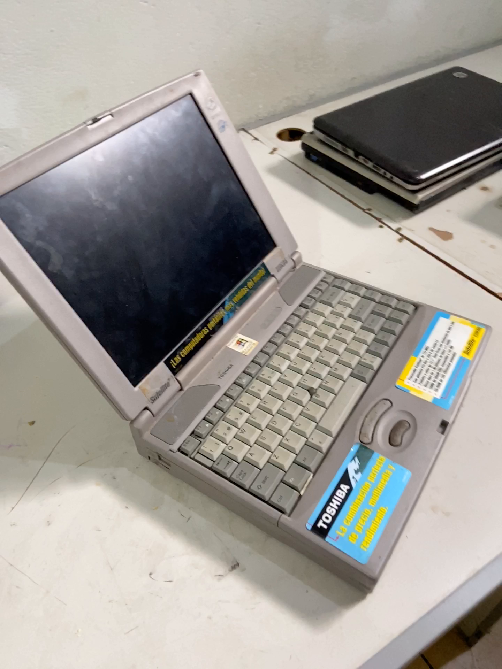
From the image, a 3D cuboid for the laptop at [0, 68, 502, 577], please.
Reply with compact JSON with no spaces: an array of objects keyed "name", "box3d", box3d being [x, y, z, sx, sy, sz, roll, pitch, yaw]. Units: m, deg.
[{"name":"laptop","box3d":[0.015,-0.055,0.456,0.358,0.195,0.302,24,51,24]}]
